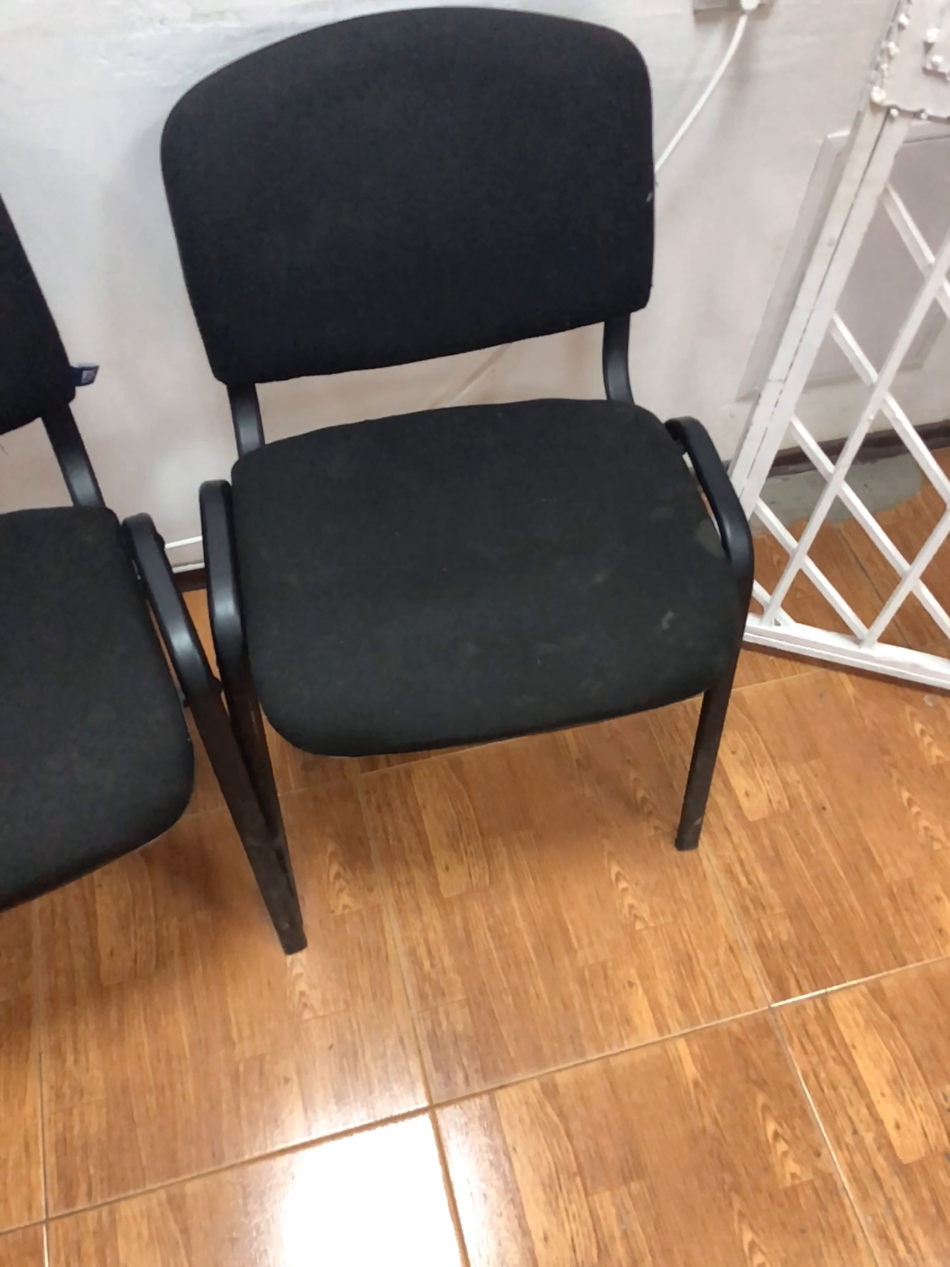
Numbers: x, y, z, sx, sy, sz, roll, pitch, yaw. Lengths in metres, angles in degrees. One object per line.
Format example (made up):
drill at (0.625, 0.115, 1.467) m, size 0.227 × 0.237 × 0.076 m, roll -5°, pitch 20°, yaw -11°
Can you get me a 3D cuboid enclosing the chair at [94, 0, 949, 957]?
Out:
chair at (-0.004, -0.134, 1.077) m, size 0.570 × 0.688 × 0.621 m, roll -9°, pitch 57°, yaw -9°
